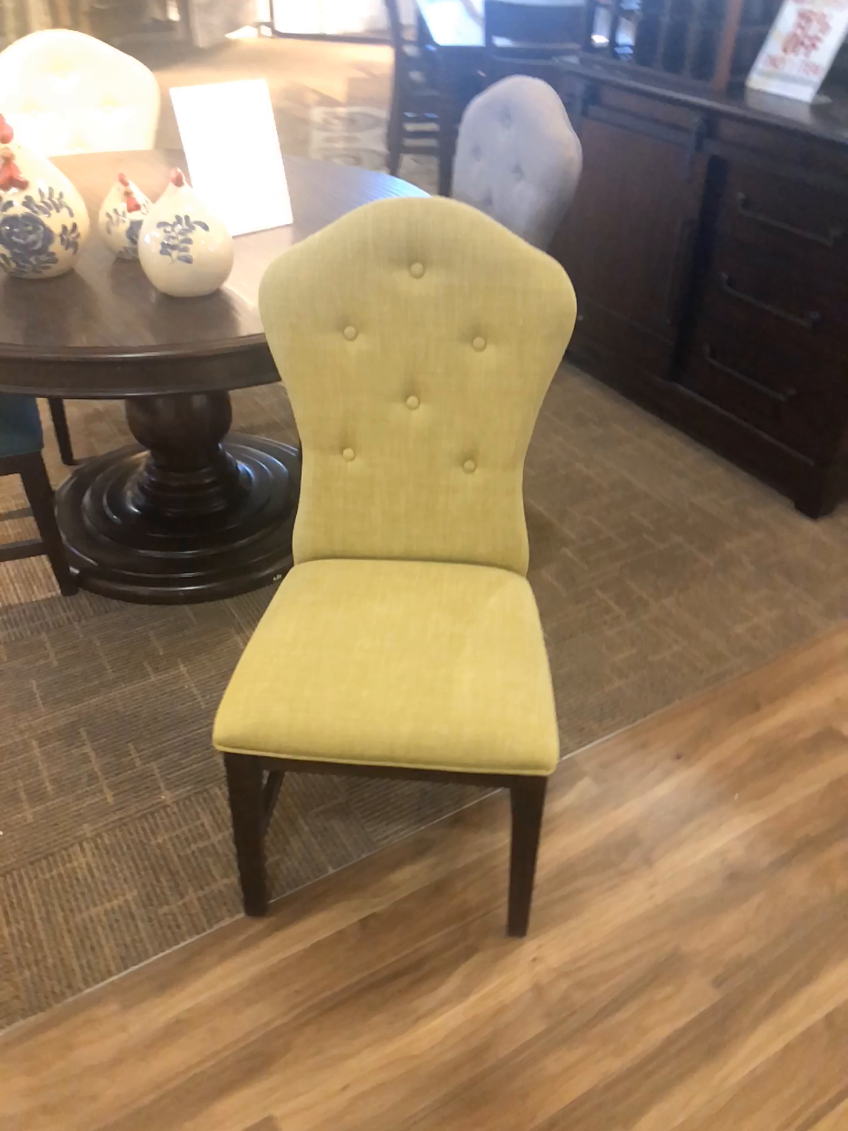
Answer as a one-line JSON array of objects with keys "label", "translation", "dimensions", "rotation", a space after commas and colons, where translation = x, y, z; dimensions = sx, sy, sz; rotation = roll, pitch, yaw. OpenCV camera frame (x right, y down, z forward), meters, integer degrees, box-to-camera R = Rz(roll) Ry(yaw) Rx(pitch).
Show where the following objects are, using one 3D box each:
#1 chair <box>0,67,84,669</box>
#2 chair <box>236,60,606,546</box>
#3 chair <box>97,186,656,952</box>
[{"label": "chair", "translation": [-1.098, -0.389, 1.831], "dimensions": [0.576, 0.960, 0.520], "rotation": [-14, 39, -20]}, {"label": "chair", "translation": [-0.031, -0.647, 2.271], "dimensions": [0.636, 0.950, 0.510], "rotation": [-16, 40, -22]}, {"label": "chair", "translation": [-0.045, 0.022, 1.430], "dimensions": [0.538, 0.980, 0.618], "rotation": [3, 37, 1]}]
